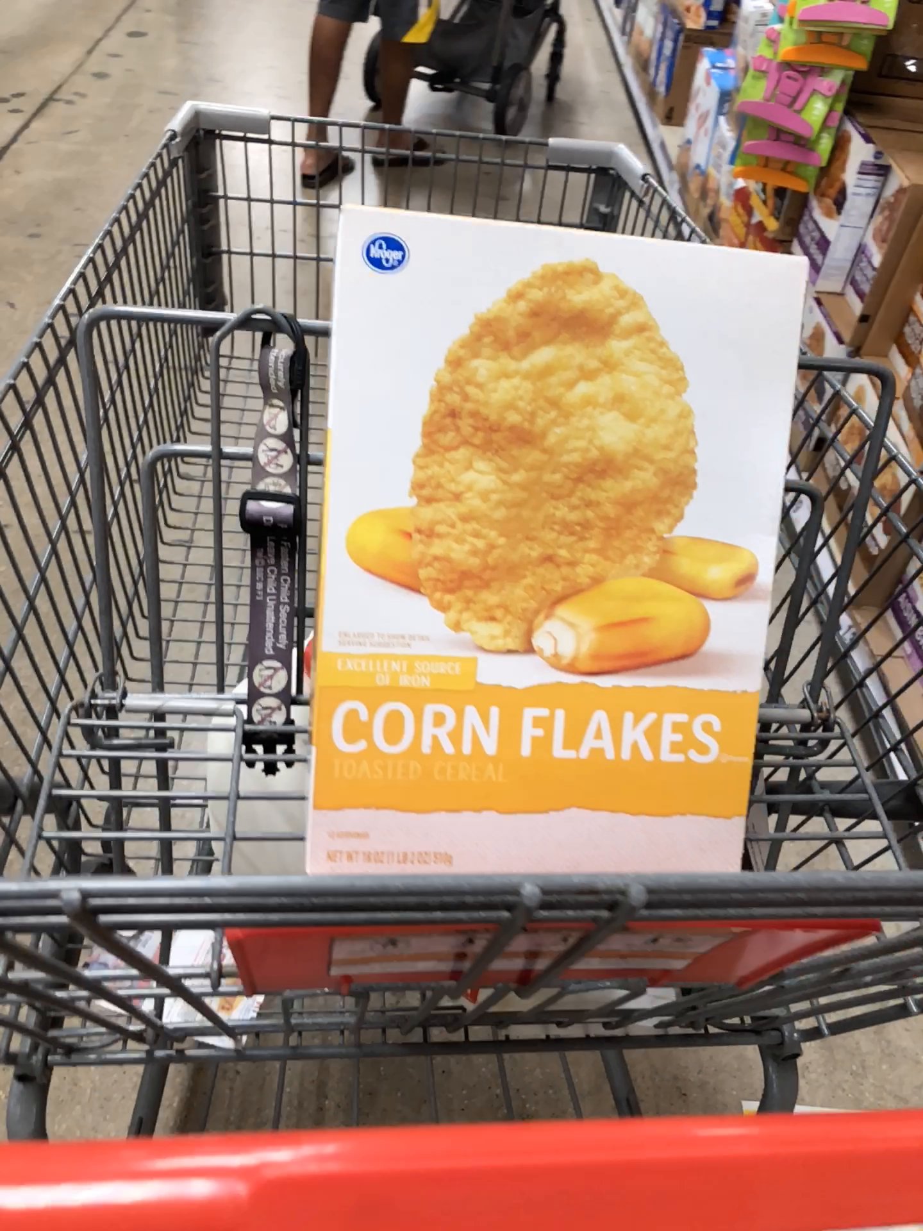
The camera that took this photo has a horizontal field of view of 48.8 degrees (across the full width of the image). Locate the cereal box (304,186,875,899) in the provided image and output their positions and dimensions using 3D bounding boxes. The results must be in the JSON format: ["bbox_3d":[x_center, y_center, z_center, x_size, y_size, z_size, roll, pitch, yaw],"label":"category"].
[{"bbox_3d":[0.048,-0.025,0.482,0.230,0.300,0.080,2,10,-8],"label":"cereal box"}]
